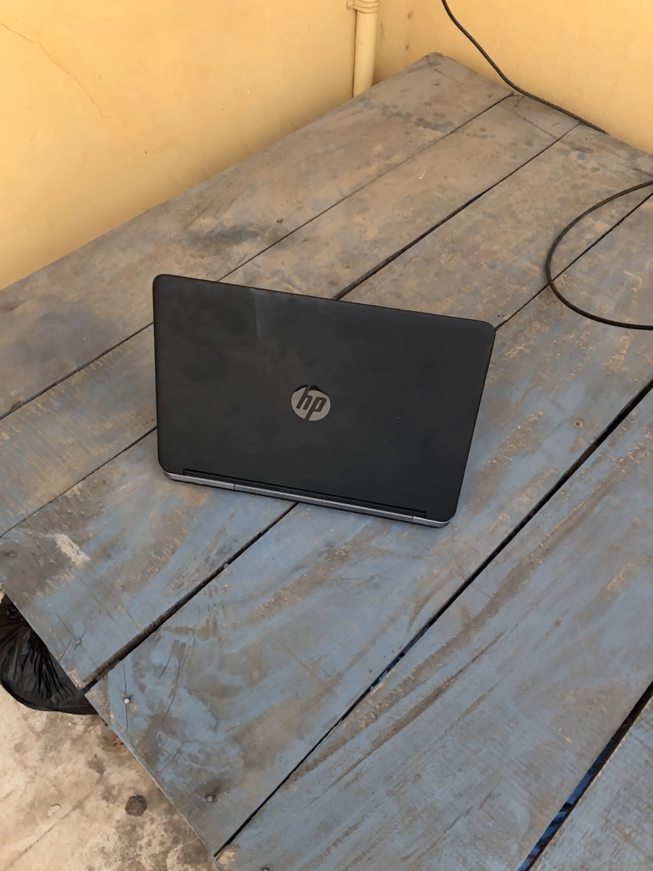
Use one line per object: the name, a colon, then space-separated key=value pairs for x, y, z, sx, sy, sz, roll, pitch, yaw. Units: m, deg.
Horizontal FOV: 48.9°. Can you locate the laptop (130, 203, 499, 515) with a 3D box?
laptop: x=-0.001 y=-0.082 z=0.767 sx=0.316 sy=0.196 sz=0.211 roll=9 pitch=54 yaw=7
